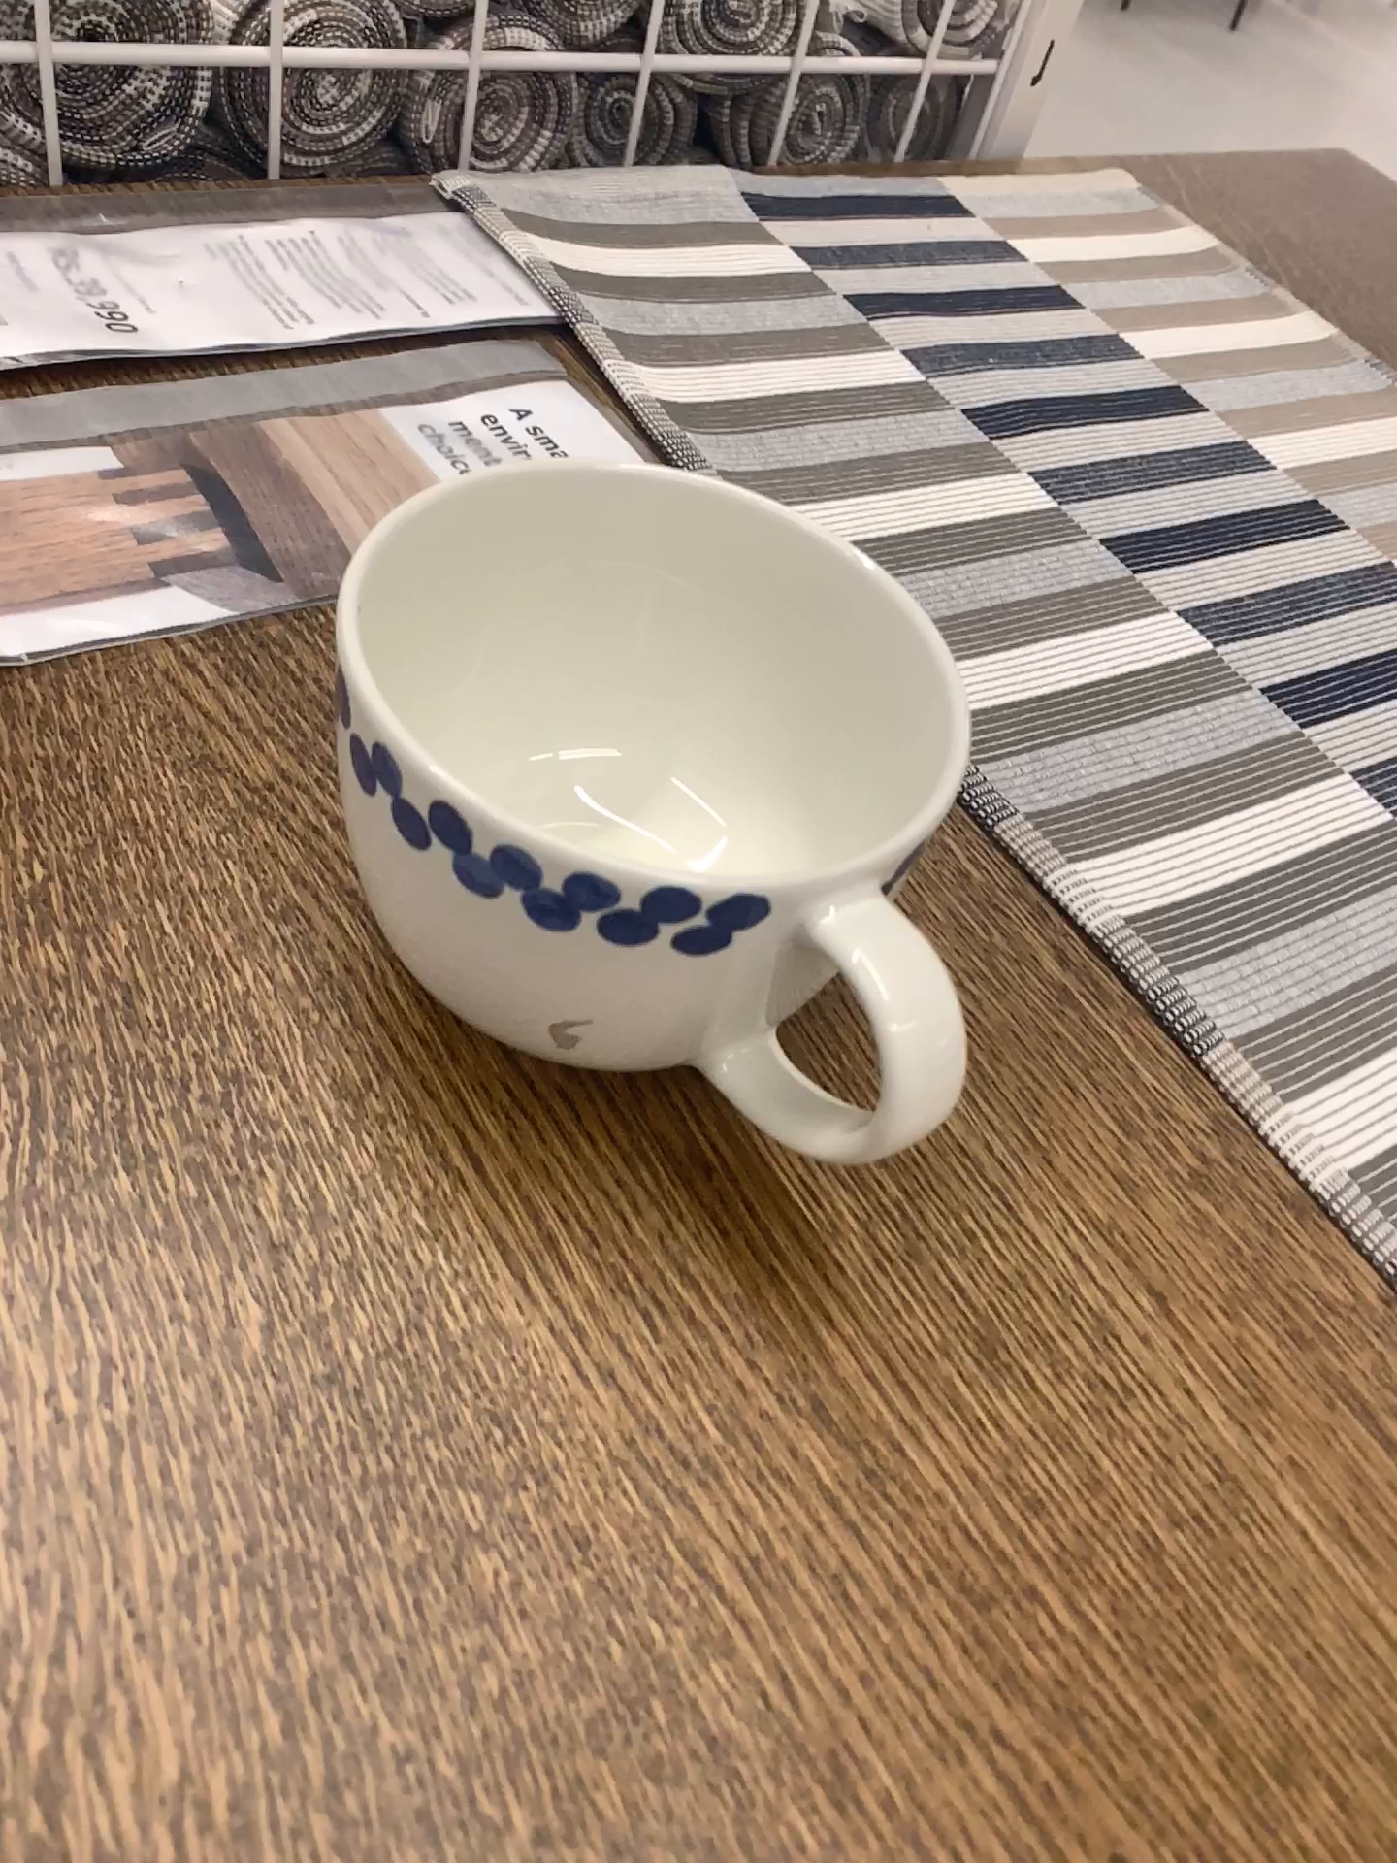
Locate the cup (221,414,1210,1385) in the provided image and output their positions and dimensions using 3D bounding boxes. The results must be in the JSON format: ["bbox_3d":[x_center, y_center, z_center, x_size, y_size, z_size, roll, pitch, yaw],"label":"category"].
[{"bbox_3d":[-0.007,-0.015,0.243,0.100,0.070,0.130,-19,58,-30],"label":"cup"}]
